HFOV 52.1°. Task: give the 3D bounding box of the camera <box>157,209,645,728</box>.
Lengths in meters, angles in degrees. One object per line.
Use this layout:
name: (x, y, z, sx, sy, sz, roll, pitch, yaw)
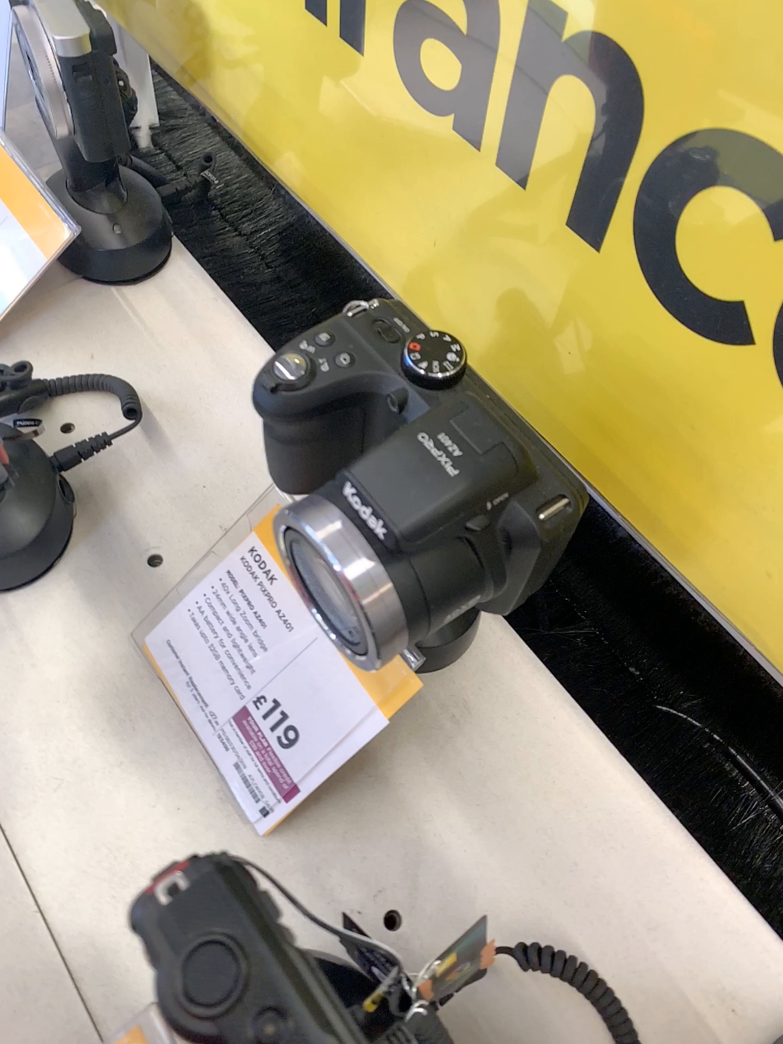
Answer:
camera: (-0.003, -0.019, 0.289, 0.090, 0.099, 0.131, -32, 66, -22)
